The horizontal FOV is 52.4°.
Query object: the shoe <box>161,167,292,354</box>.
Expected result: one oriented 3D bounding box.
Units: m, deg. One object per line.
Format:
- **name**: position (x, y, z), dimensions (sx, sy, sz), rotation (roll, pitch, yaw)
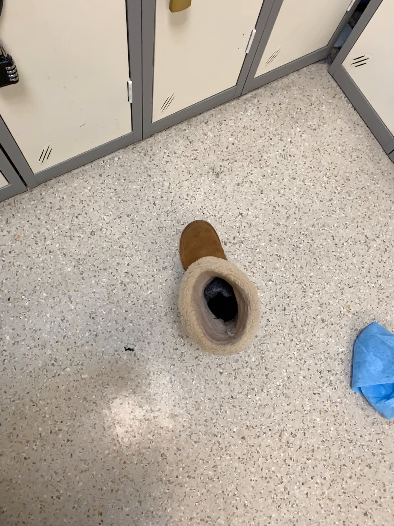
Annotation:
- **shoe**: position (0.037, 0.012, 0.817), dimensions (0.158, 0.245, 0.306), rotation (-10, 77, -10)
